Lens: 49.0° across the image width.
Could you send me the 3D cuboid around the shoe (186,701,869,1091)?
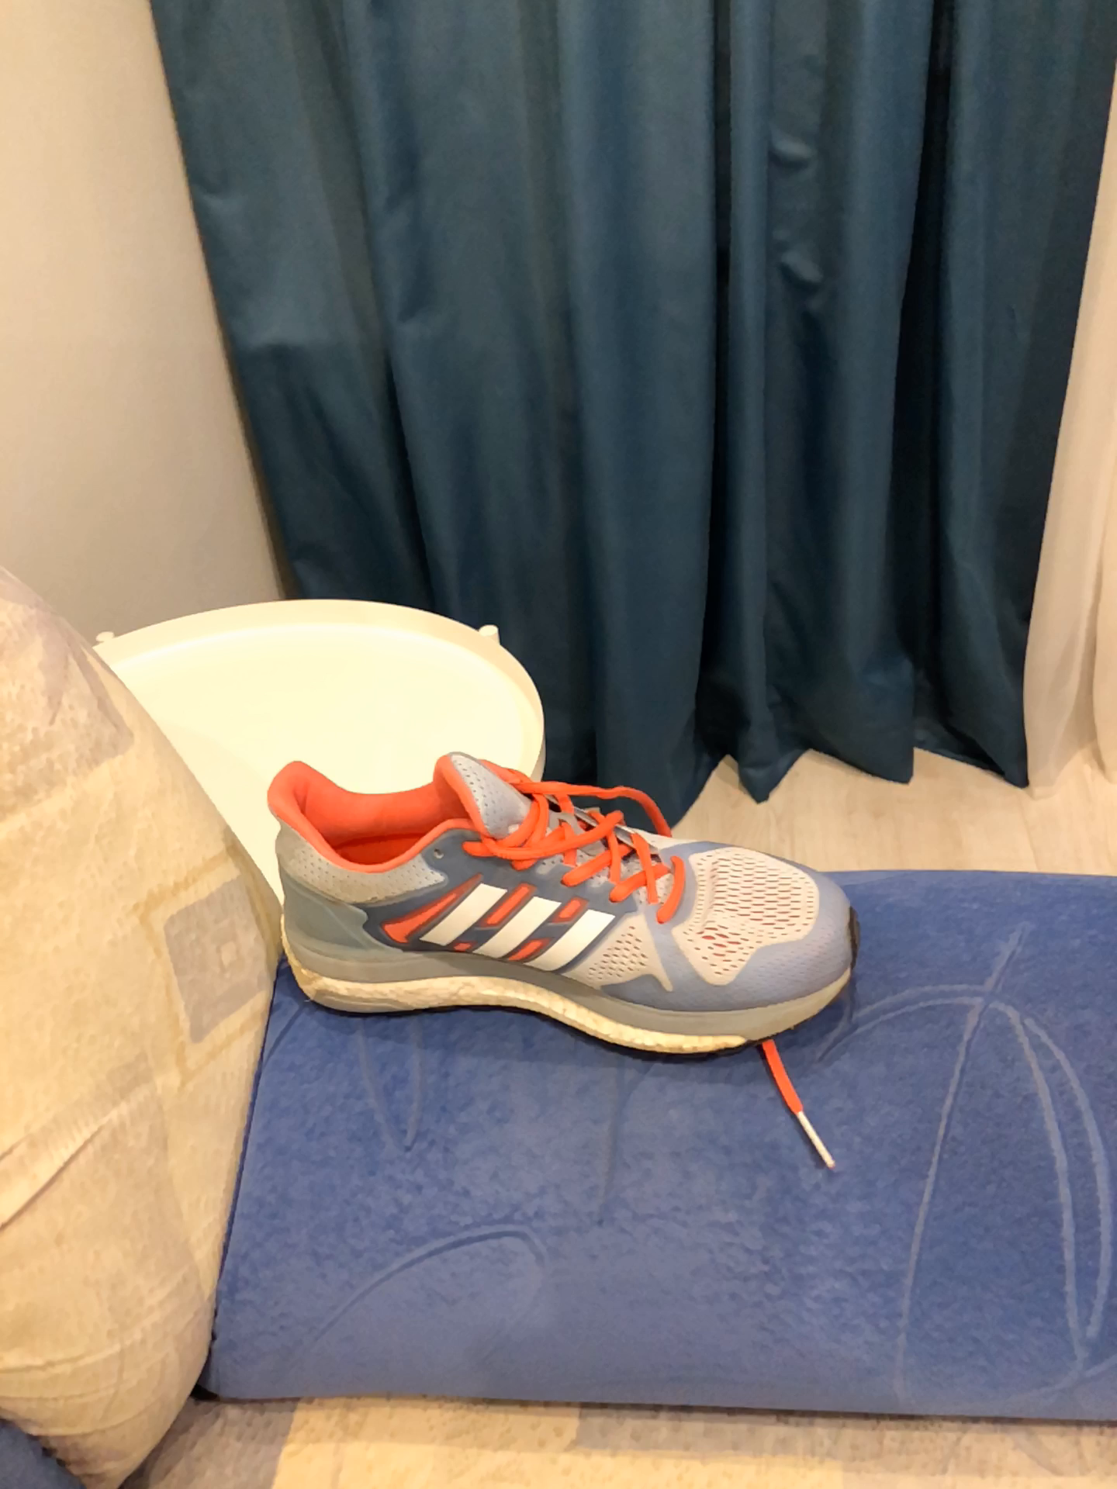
[{"bbox_3d":[-0.004,0.061,0.543,0.270,0.109,0.108,2,34,12],"label":"shoe"}]
